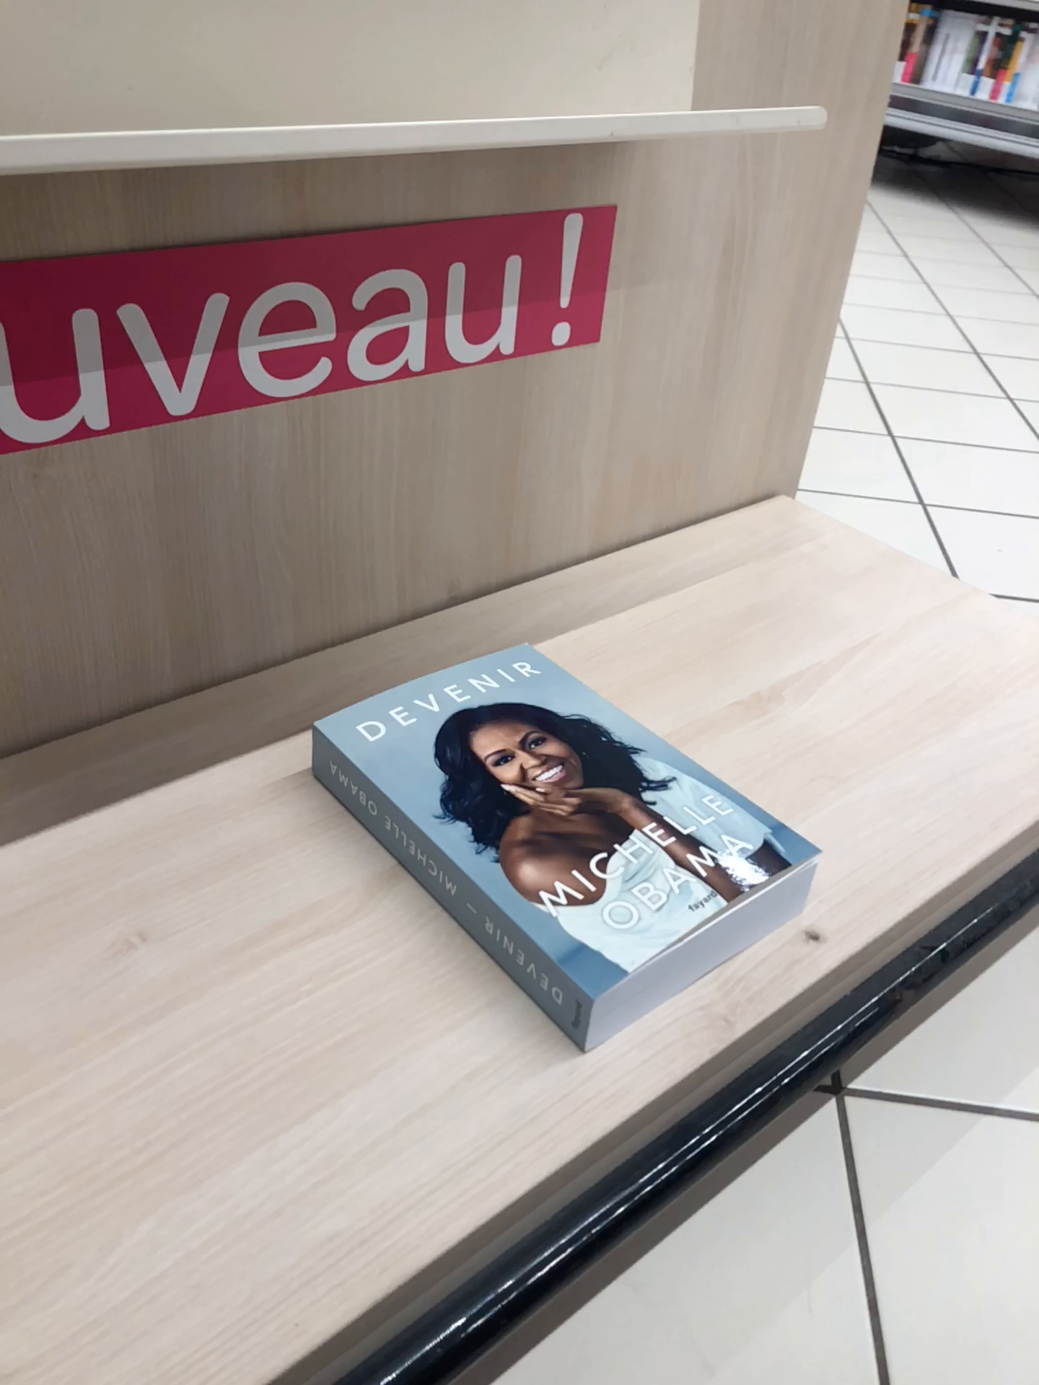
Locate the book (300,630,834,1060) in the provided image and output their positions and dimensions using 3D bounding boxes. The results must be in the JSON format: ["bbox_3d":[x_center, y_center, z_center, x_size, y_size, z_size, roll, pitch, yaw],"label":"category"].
[{"bbox_3d":[0.017,0.061,0.607,0.164,0.040,0.240,-21,44,-34],"label":"book"}]
